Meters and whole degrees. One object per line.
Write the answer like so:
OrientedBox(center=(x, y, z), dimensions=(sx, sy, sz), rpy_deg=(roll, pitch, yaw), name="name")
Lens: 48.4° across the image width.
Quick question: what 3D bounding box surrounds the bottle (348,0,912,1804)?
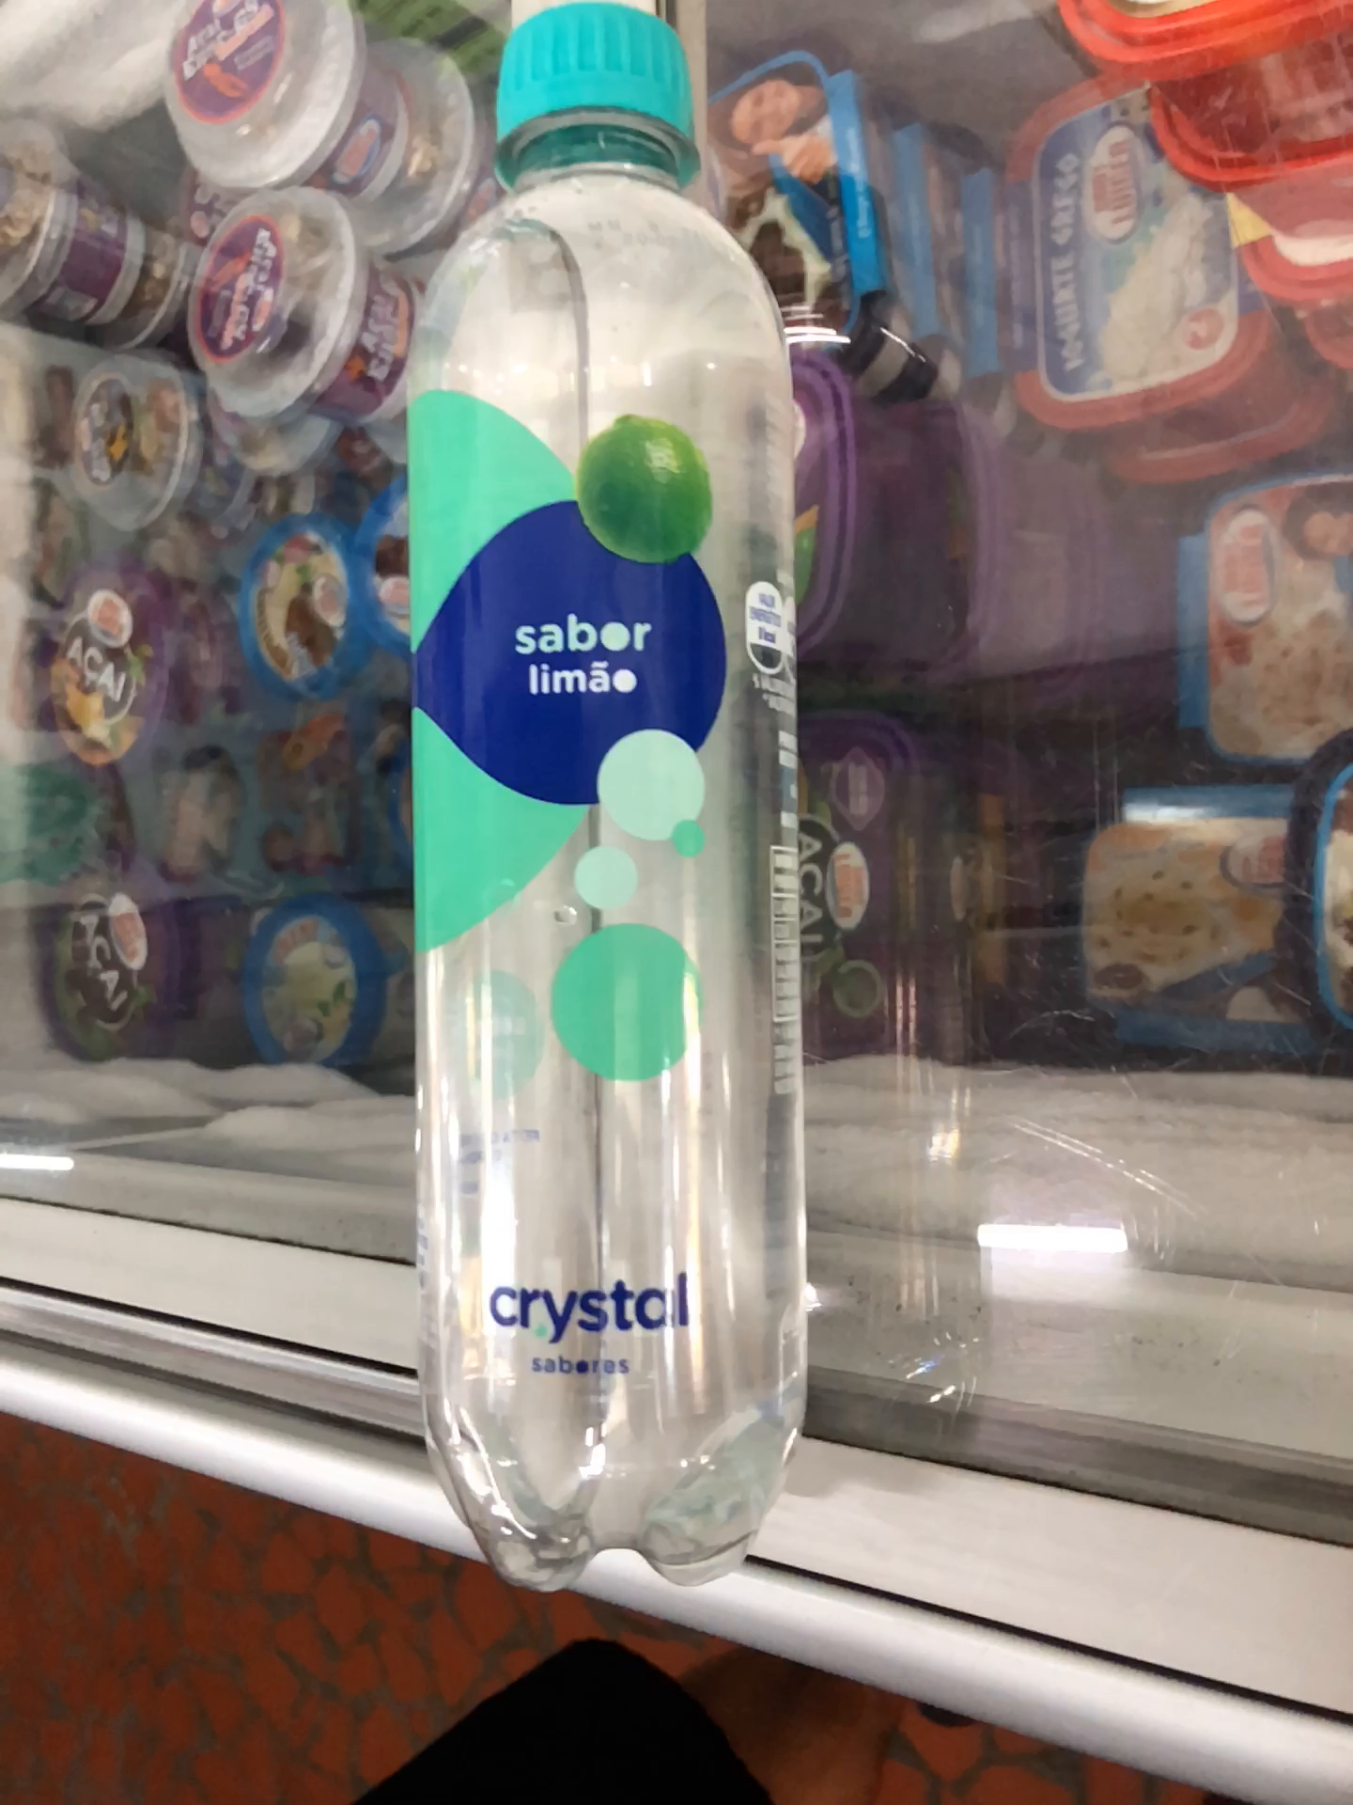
OrientedBox(center=(-0.003, -0.001, 0.230), dimensions=(0.070, 0.070, 0.240), rpy_deg=(0, 94, 4), name="bottle")
